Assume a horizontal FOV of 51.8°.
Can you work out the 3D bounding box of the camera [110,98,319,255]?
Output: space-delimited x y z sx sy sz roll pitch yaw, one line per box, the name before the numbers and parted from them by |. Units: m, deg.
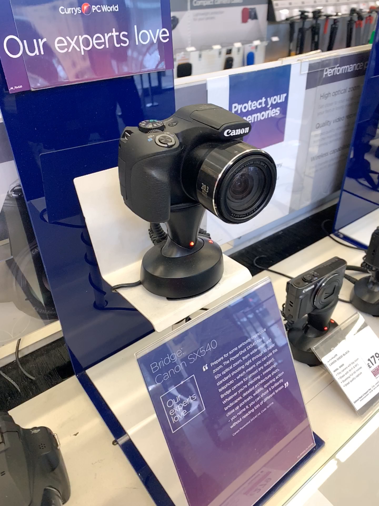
camera | 0.016 -0.072 0.320 0.120 0.069 0.111 -19 38 -25
